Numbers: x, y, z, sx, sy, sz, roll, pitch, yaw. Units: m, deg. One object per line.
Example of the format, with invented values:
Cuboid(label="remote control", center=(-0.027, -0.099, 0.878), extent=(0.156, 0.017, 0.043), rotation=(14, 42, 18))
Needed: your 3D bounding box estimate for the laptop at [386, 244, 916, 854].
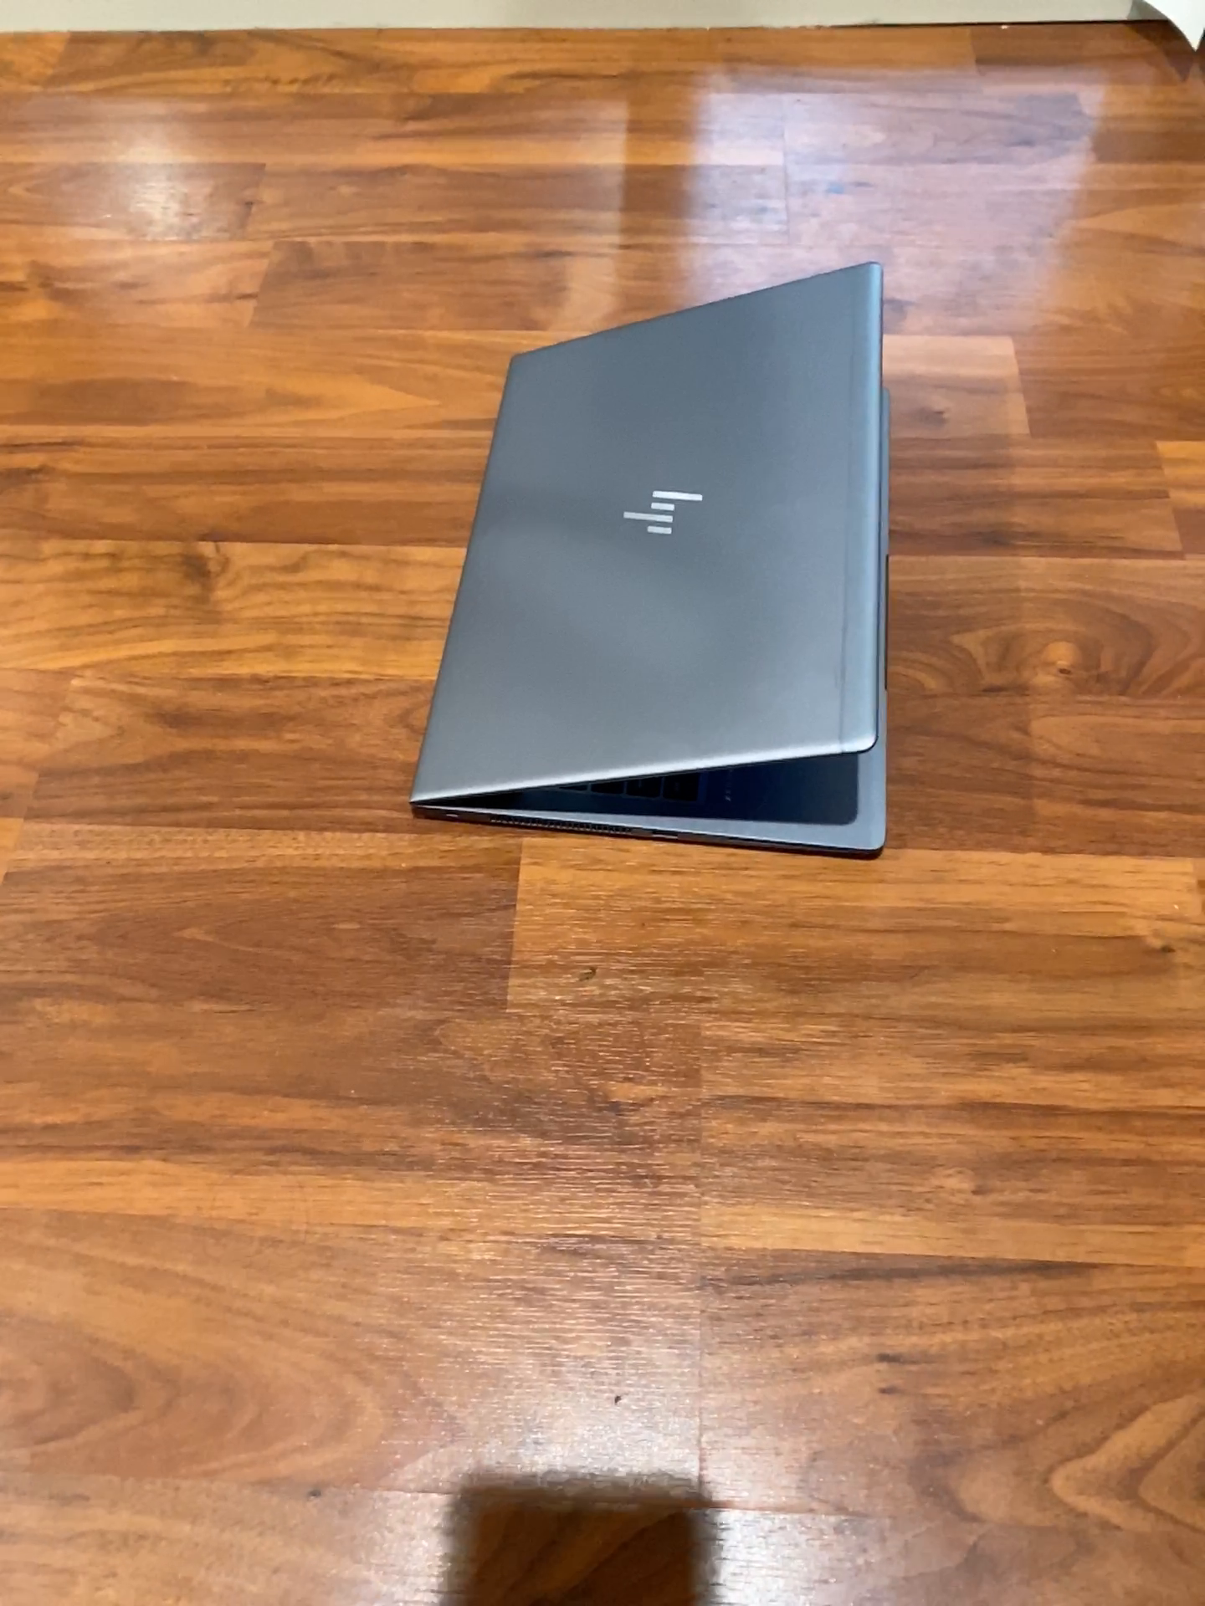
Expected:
Cuboid(label="laptop", center=(0.039, -0.147, 0.645), extent=(0.230, 0.078, 0.326), rotation=(6, 60, 4))
